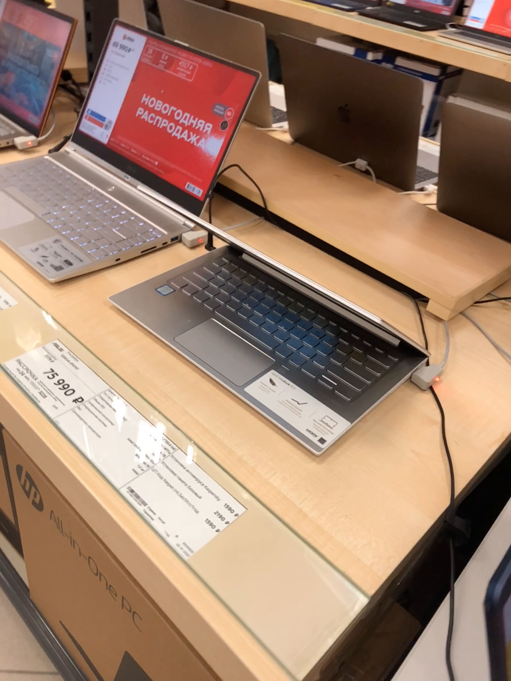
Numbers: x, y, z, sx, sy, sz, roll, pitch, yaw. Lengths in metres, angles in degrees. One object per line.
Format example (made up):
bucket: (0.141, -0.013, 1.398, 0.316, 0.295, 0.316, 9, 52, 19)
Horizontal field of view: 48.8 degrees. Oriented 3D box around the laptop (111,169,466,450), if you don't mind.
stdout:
laptop: (0.019, -0.060, 0.603, 0.309, 0.119, 0.197, 33, 43, 31)
